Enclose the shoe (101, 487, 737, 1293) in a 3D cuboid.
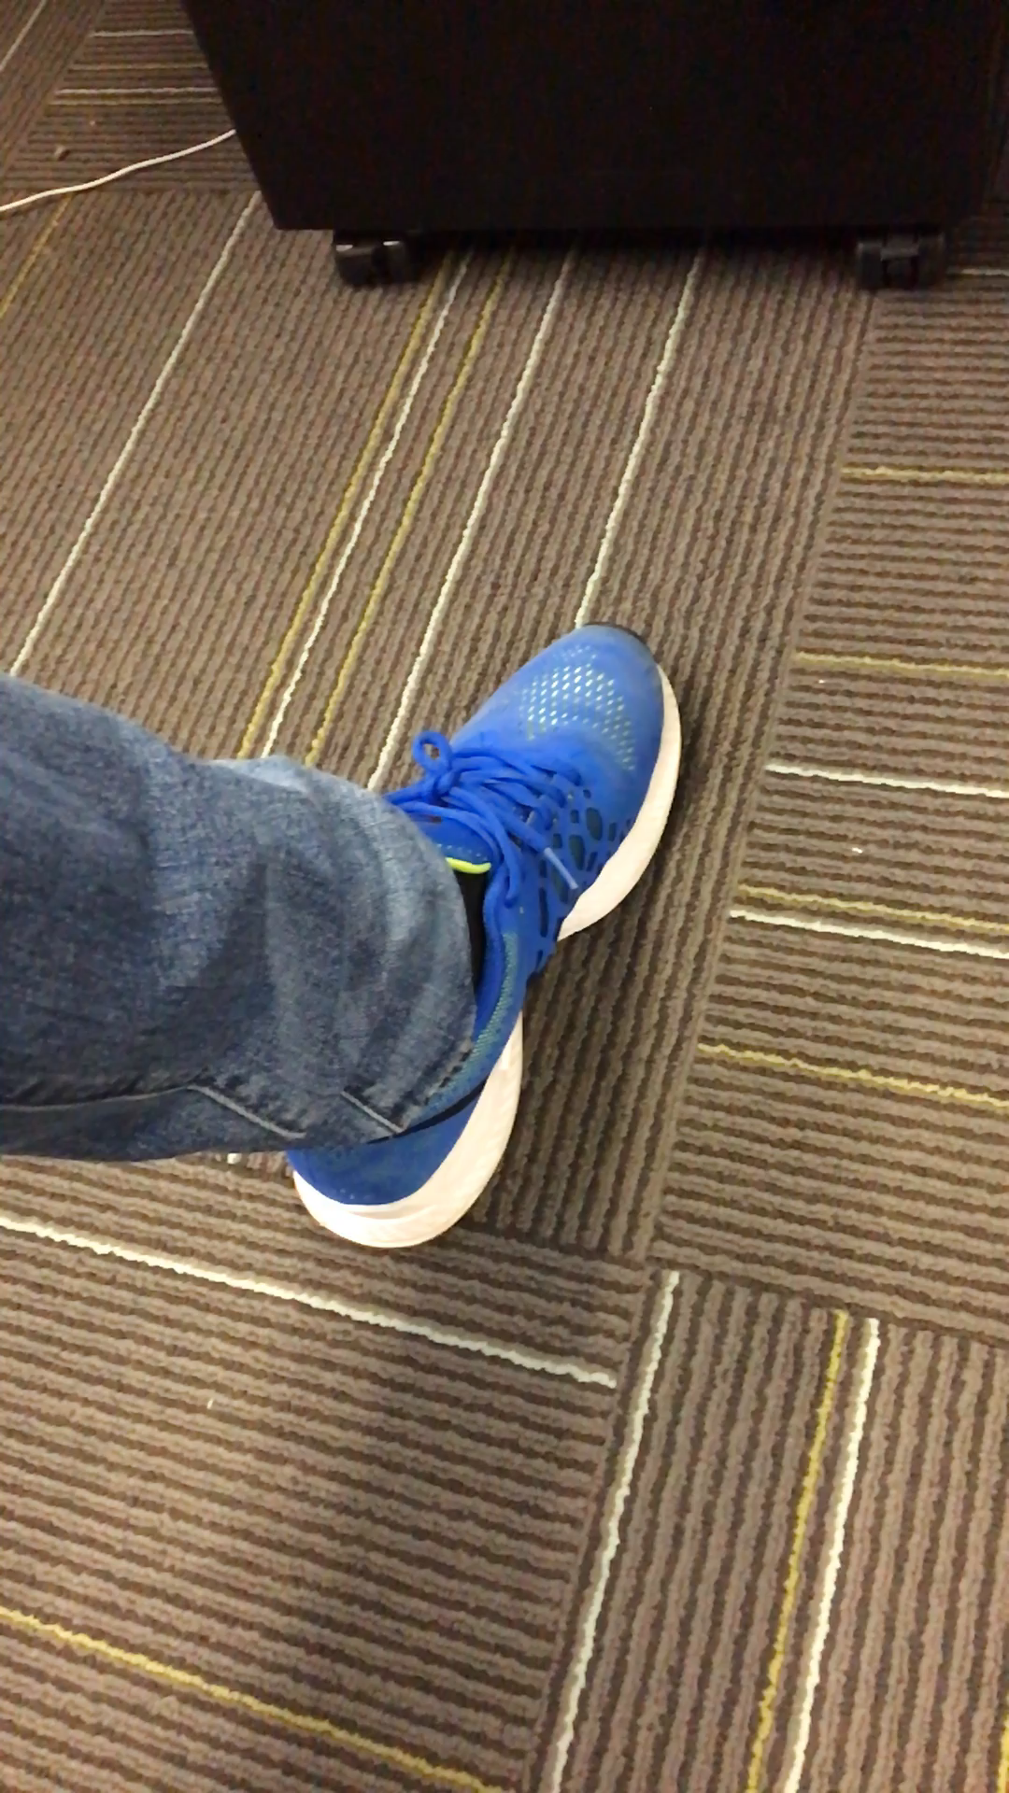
[{"bbox_3d":[-0.016,-0.012,0.601,0.120,0.110,0.290,16,64,22],"label":"shoe"}]
